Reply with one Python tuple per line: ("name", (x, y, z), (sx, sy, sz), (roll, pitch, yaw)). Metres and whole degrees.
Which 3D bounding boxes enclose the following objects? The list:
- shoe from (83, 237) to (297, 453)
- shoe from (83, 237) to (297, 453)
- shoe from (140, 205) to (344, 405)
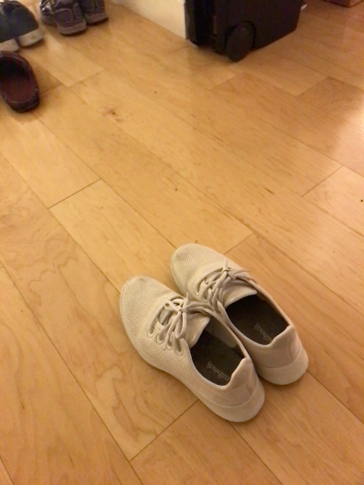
("shoe", (0.002, 0.131, 0.568), (0.130, 0.089, 0.281), (-39, 58, -23))
("shoe", (0.002, 0.131, 0.568), (0.130, 0.089, 0.281), (-39, 58, -23))
("shoe", (0.072, 0.074, 0.576), (0.120, 0.070, 0.281), (-34, 56, -20))
